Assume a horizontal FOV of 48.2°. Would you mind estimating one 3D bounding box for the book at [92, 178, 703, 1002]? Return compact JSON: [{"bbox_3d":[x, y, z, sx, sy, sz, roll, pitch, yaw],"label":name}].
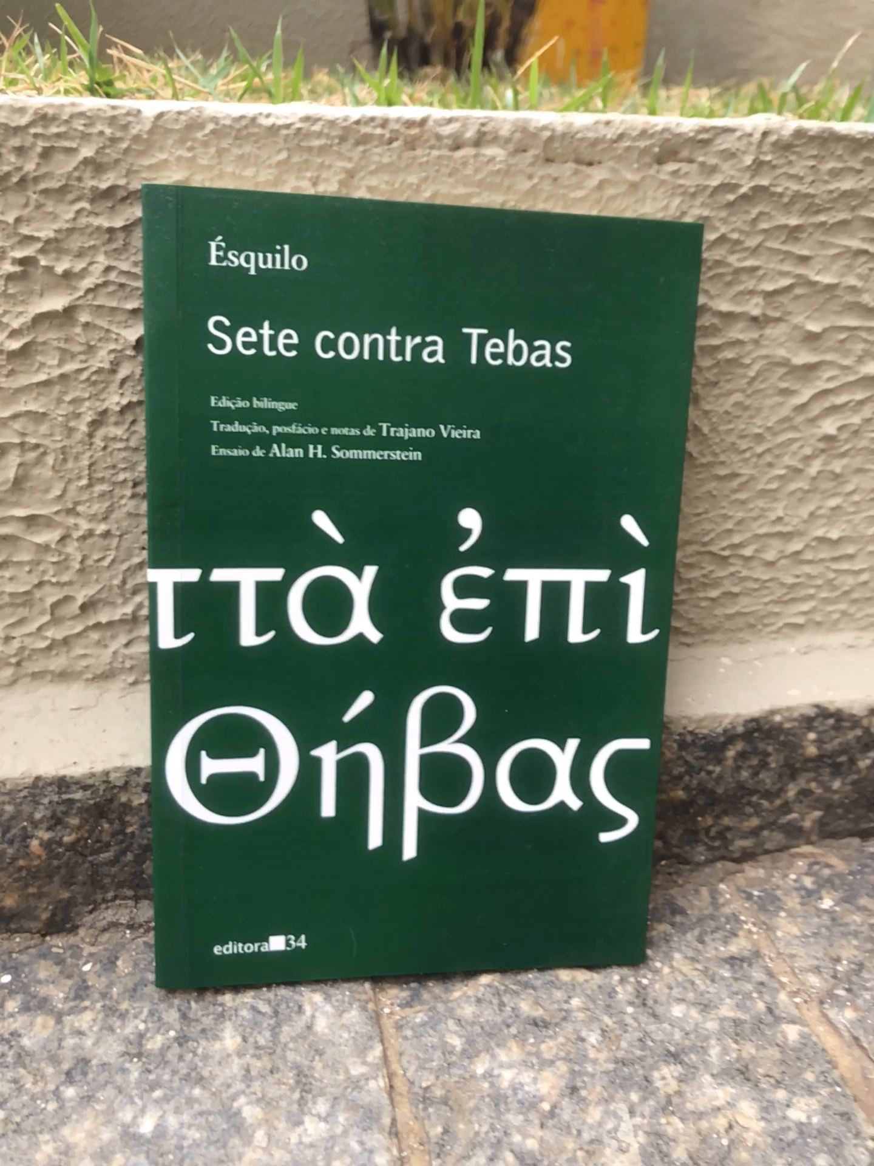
[{"bbox_3d":[-0.007,0.004,0.248,0.140,0.196,0.020,-1,9,-7],"label":"book"}]
